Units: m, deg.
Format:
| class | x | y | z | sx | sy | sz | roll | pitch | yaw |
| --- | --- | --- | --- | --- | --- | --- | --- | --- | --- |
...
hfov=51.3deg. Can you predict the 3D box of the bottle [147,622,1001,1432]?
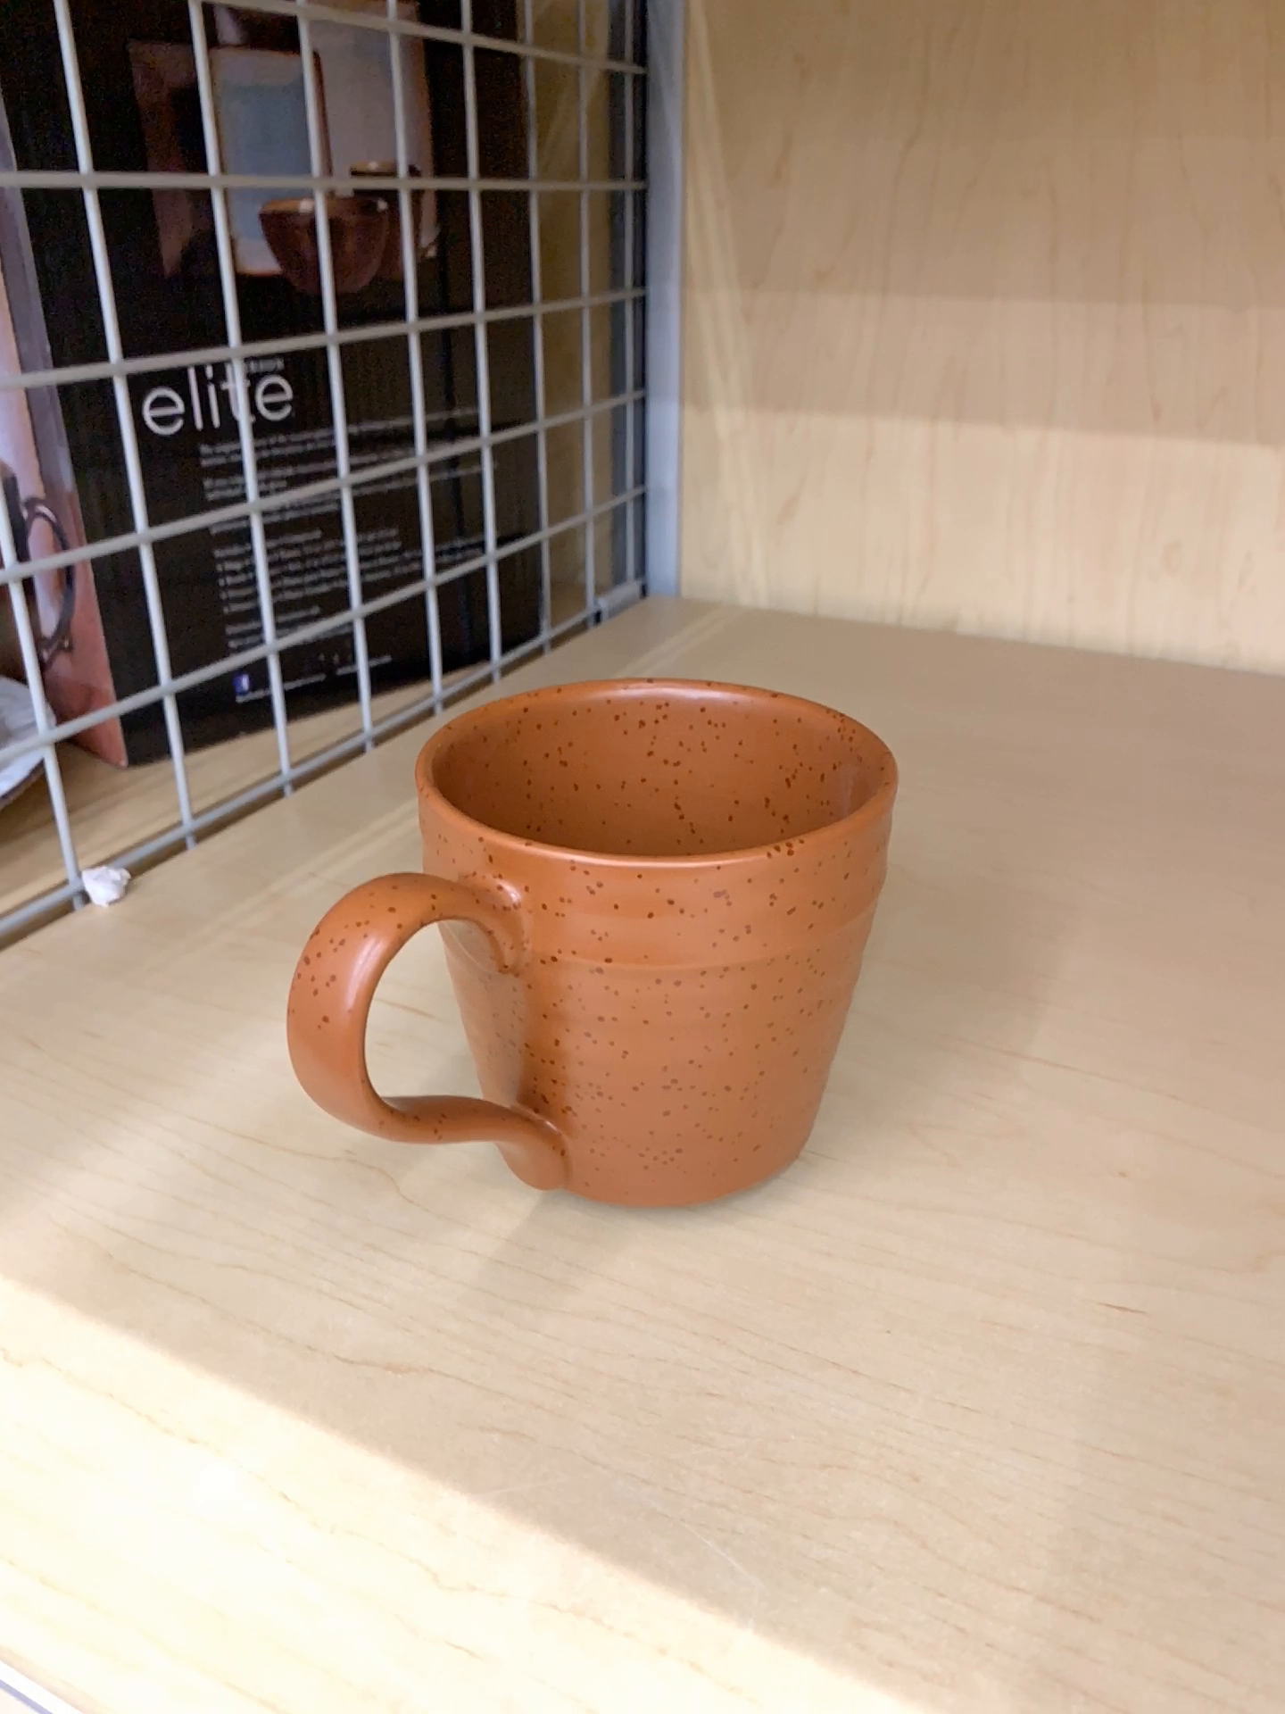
| class | x | y | z | sx | sy | sz | roll | pitch | yaw |
| --- | --- | --- | --- | --- | --- | --- | --- | --- | --- |
| bottle | -0.007 | 0.018 | 0.283 | 0.100 | 0.090 | 0.140 | 20 | 32 | 35 |
